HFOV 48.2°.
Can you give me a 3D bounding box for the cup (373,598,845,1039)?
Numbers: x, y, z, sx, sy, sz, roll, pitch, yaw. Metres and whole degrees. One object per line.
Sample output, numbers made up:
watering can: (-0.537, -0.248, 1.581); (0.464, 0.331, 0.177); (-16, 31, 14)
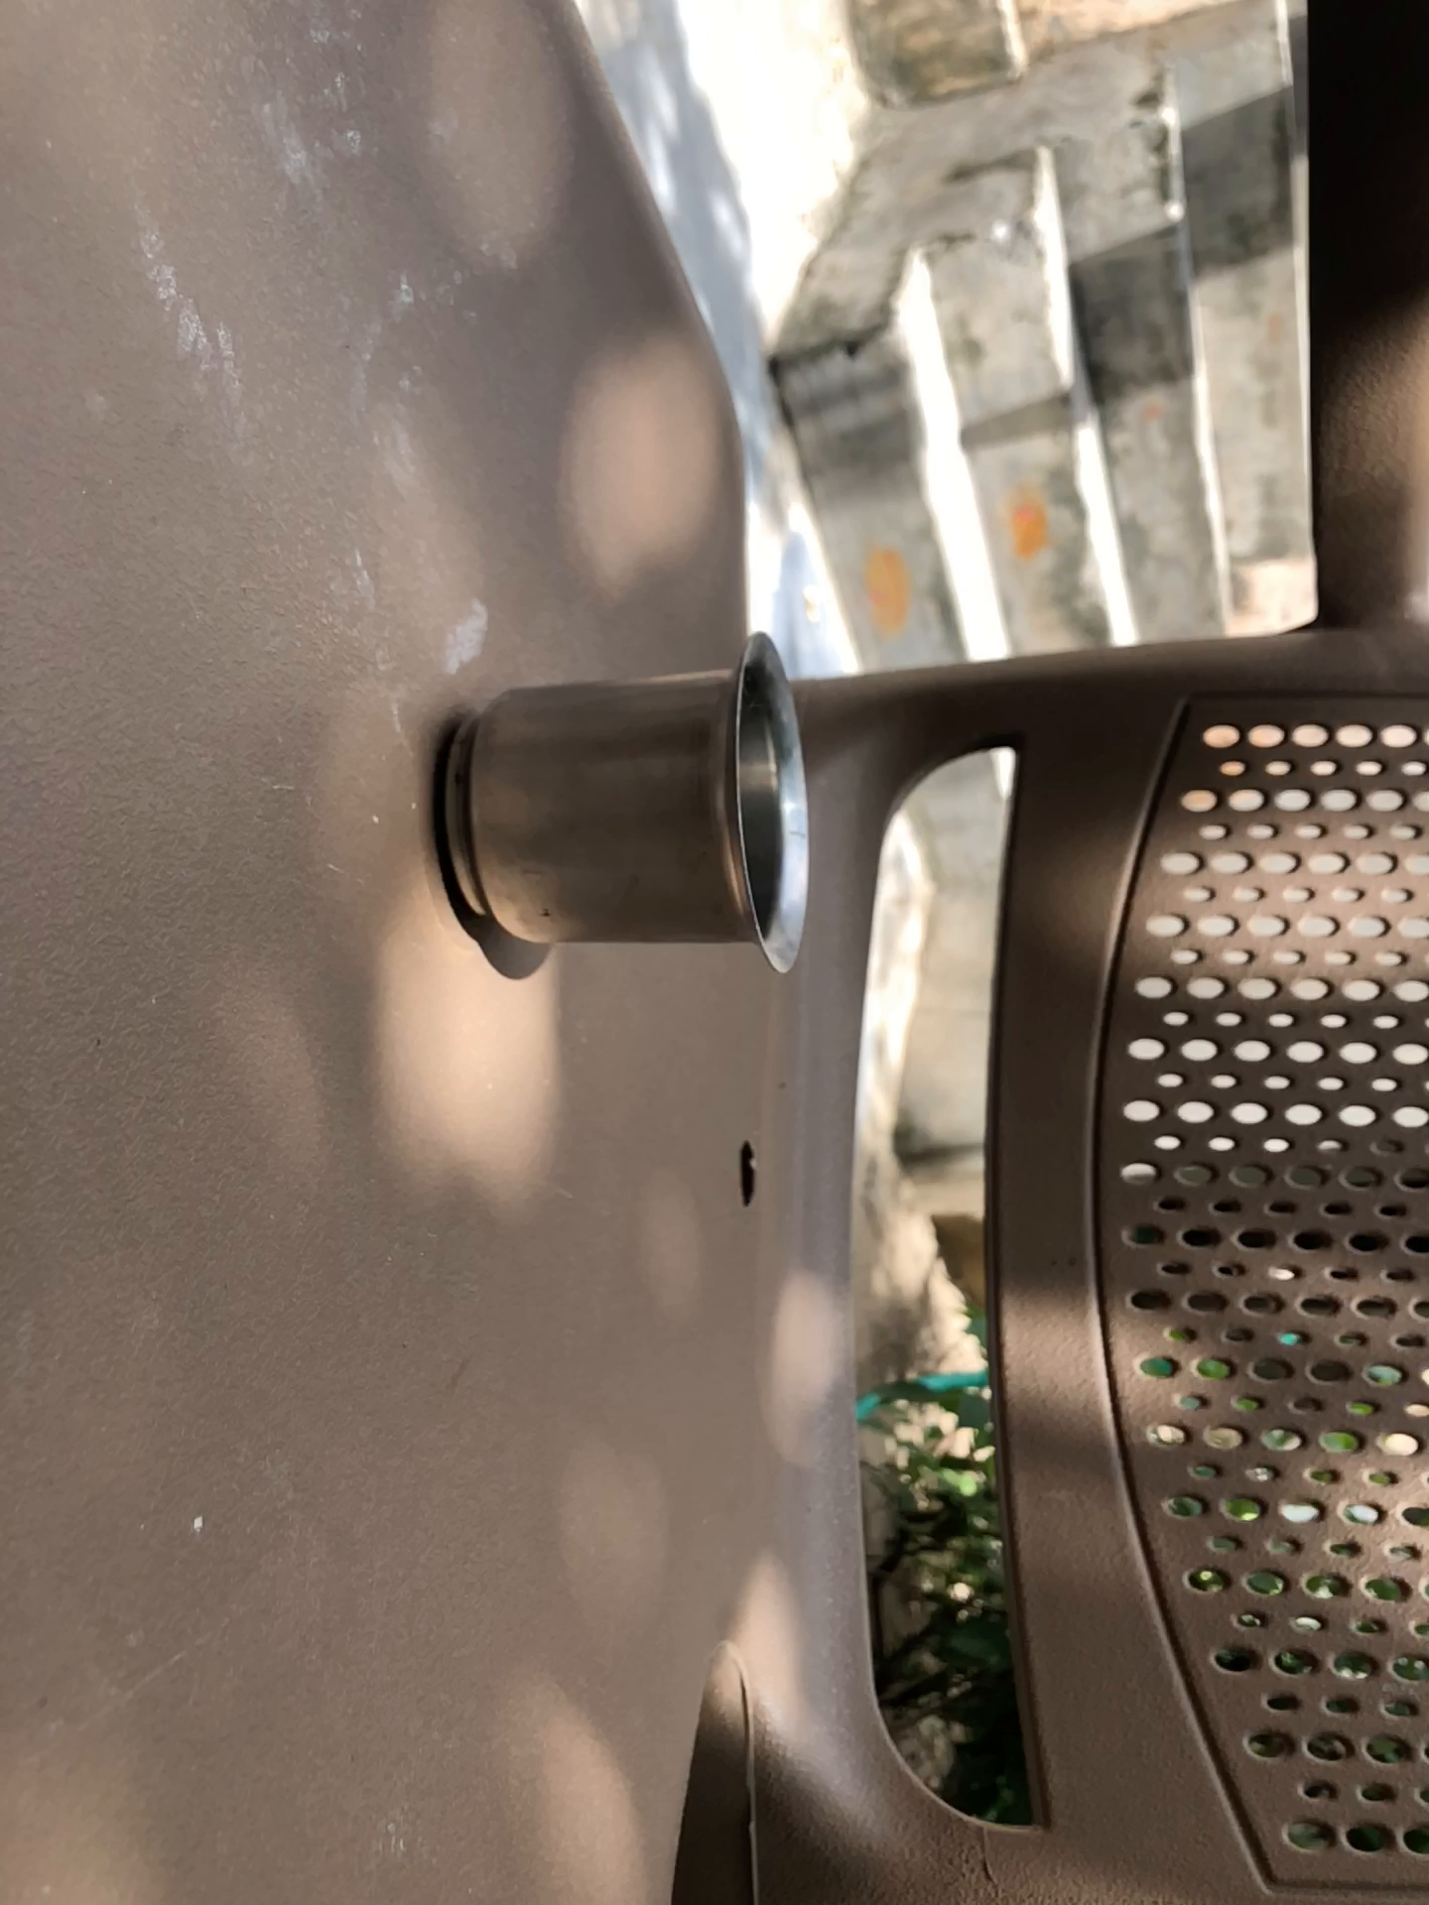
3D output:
cup: (-0.016, -0.026, 0.304); (0.060, 0.060, 0.060); (-6, 90, -71)
